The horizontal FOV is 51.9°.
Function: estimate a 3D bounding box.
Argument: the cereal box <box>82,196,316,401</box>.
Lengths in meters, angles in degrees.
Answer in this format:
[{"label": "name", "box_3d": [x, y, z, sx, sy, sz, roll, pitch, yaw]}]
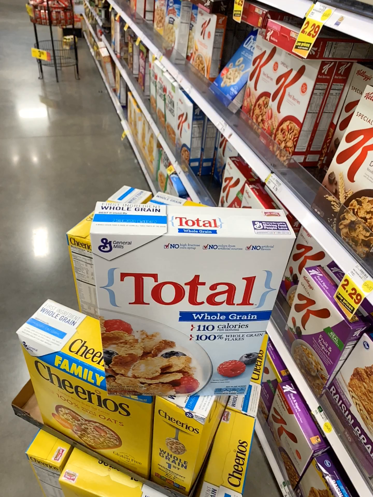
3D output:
[{"label": "cereal box", "box_3d": [0.003, 0.081, 0.457, 0.210, 0.298, 0.050, 1, 40, -4]}]
